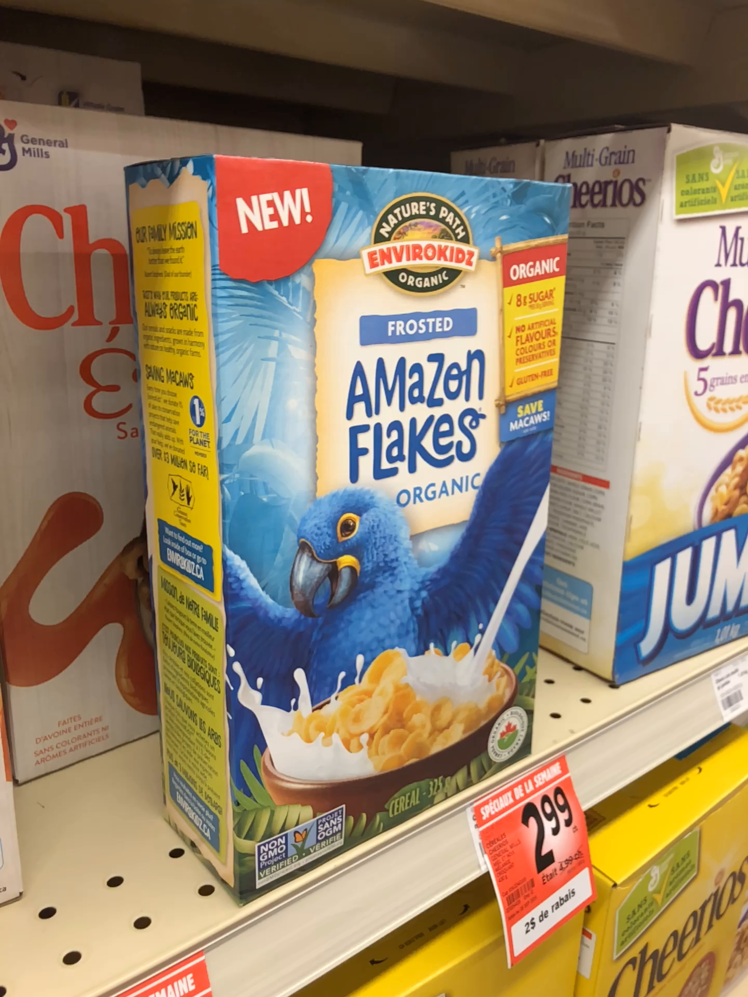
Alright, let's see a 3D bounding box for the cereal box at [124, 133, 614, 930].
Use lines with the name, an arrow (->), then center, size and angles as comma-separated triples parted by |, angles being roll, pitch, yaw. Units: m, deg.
cereal box -> 0.004, 0.006, 0.315 | 0.170, 0.249, 0.050 | -12, 21, -37
